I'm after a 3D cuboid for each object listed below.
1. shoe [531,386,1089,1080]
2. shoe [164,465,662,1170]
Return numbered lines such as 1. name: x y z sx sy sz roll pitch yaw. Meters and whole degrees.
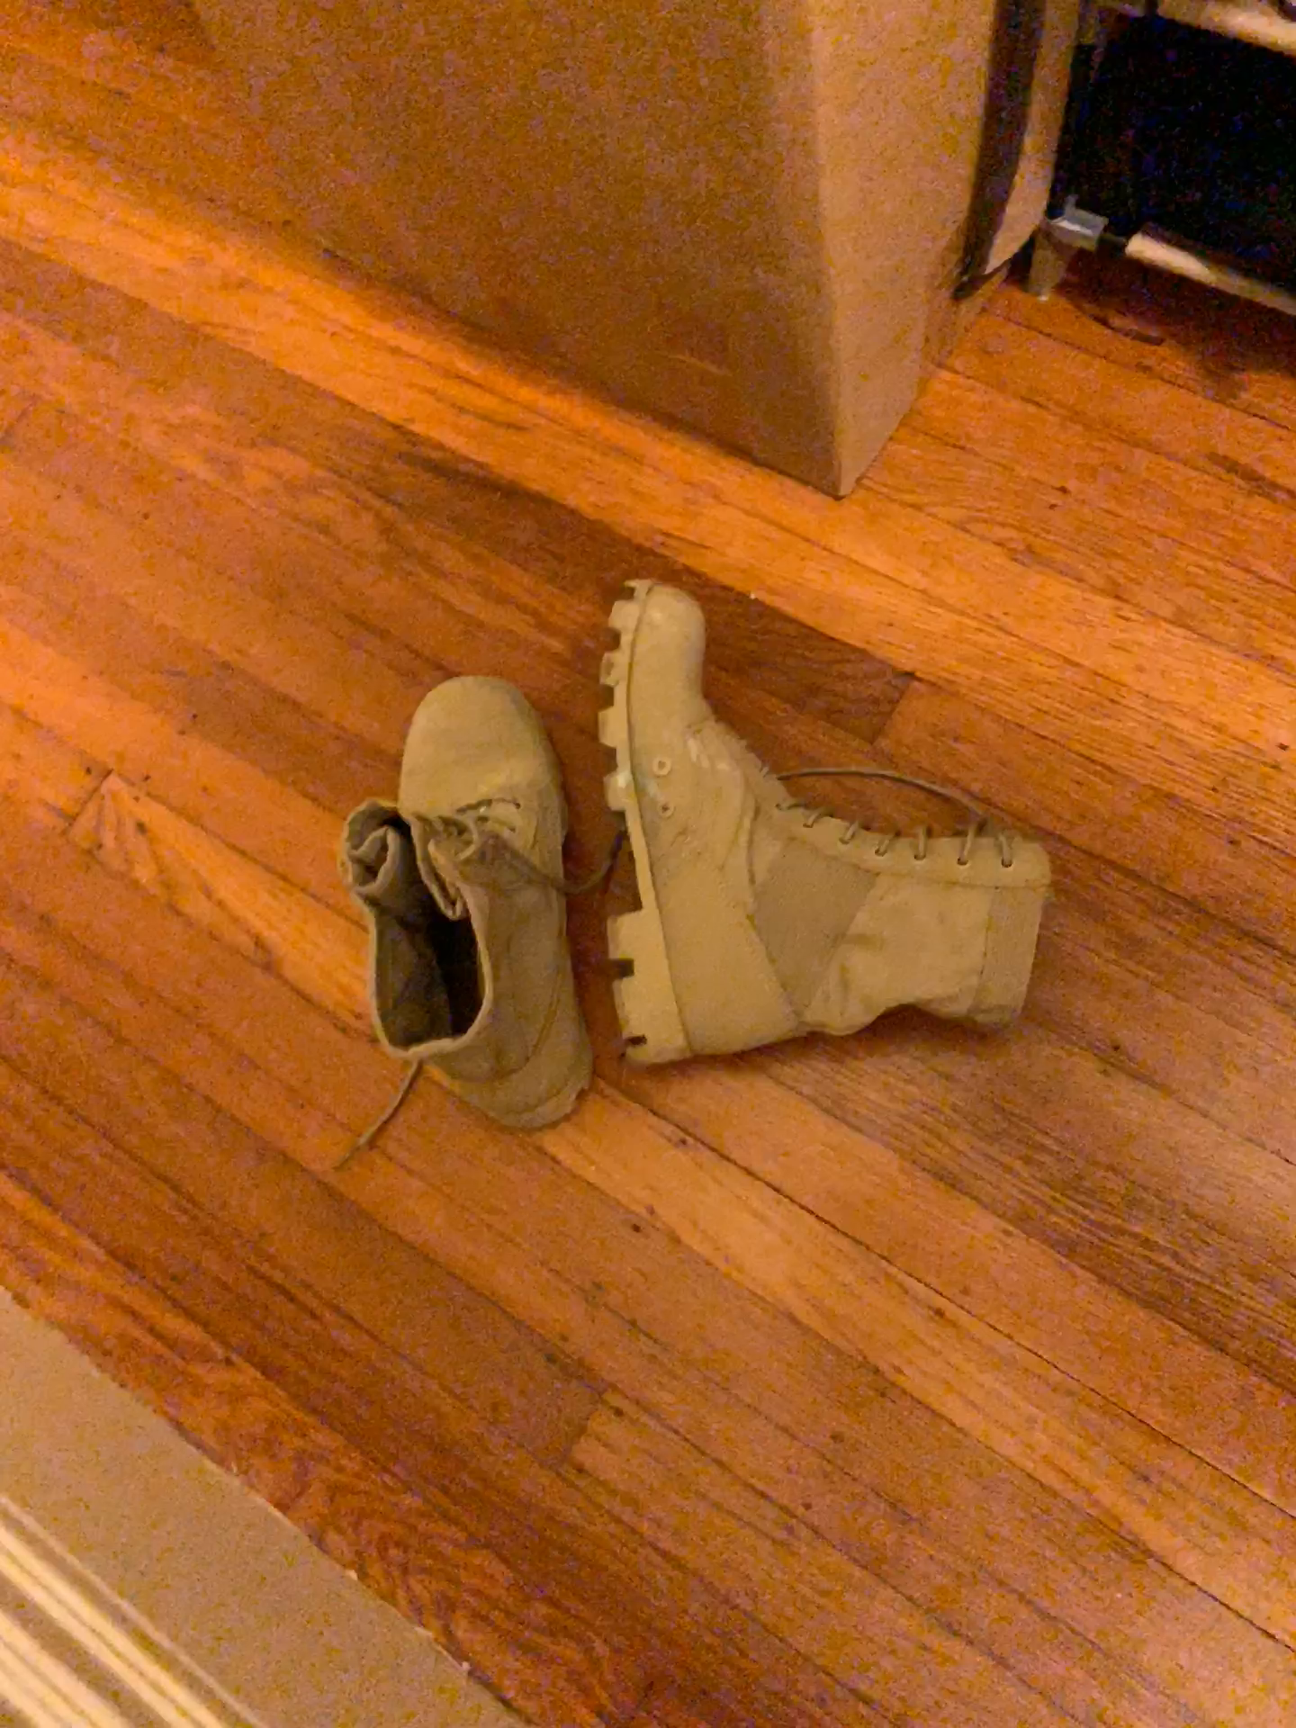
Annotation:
1. shoe: 0.080 -0.059 0.704 0.250 0.120 0.310 -8 71 15
2. shoe: -0.116 -0.009 0.703 0.190 0.200 0.300 -8 71 6
